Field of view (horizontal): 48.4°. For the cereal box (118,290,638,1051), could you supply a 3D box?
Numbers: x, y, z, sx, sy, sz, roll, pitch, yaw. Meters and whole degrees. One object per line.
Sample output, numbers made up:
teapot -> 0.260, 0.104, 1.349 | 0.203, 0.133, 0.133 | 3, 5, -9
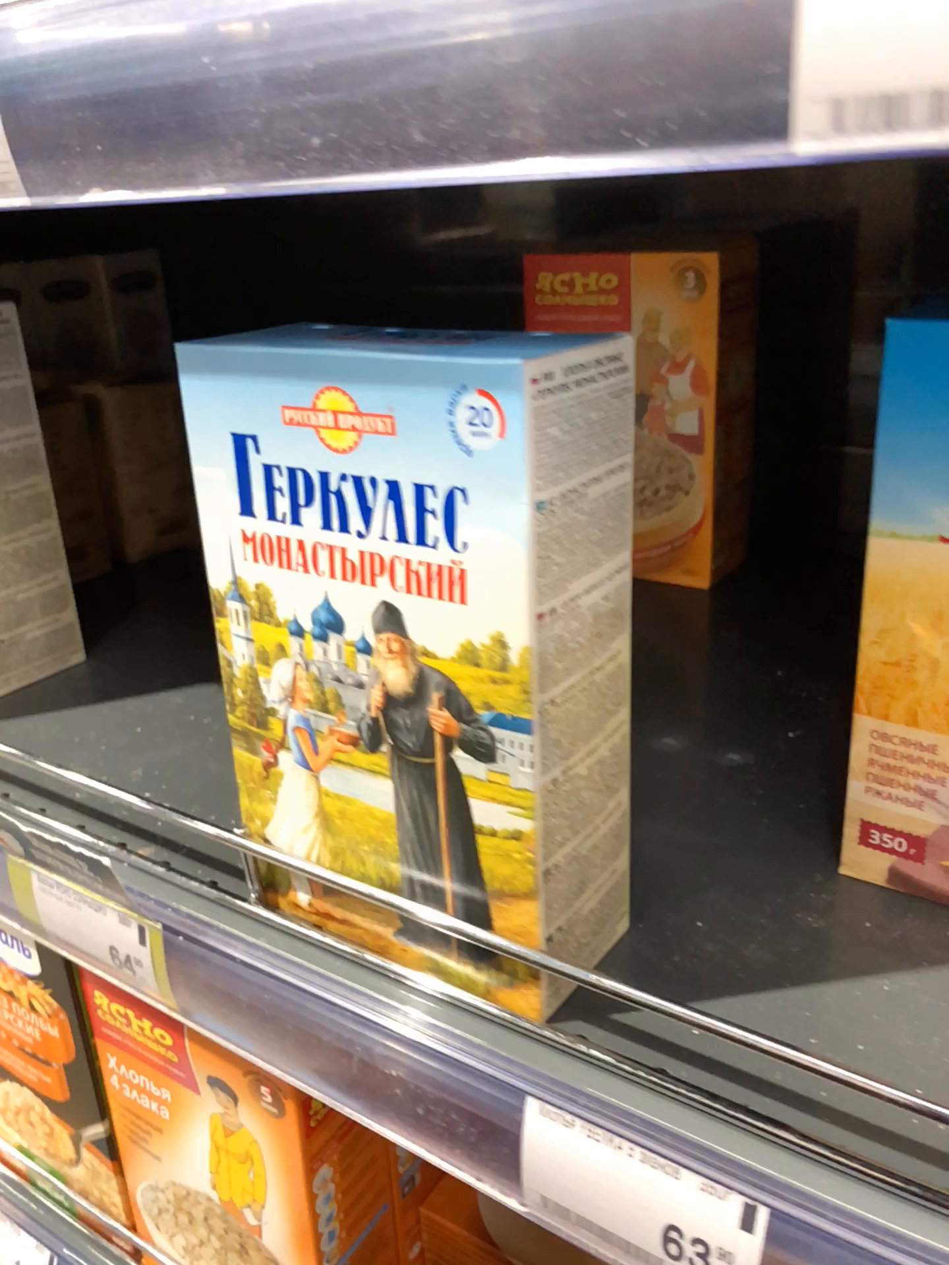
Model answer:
cereal box -> -0.026, 0.004, 0.319 | 0.130, 0.199, 0.060 | 12, 24, 31
